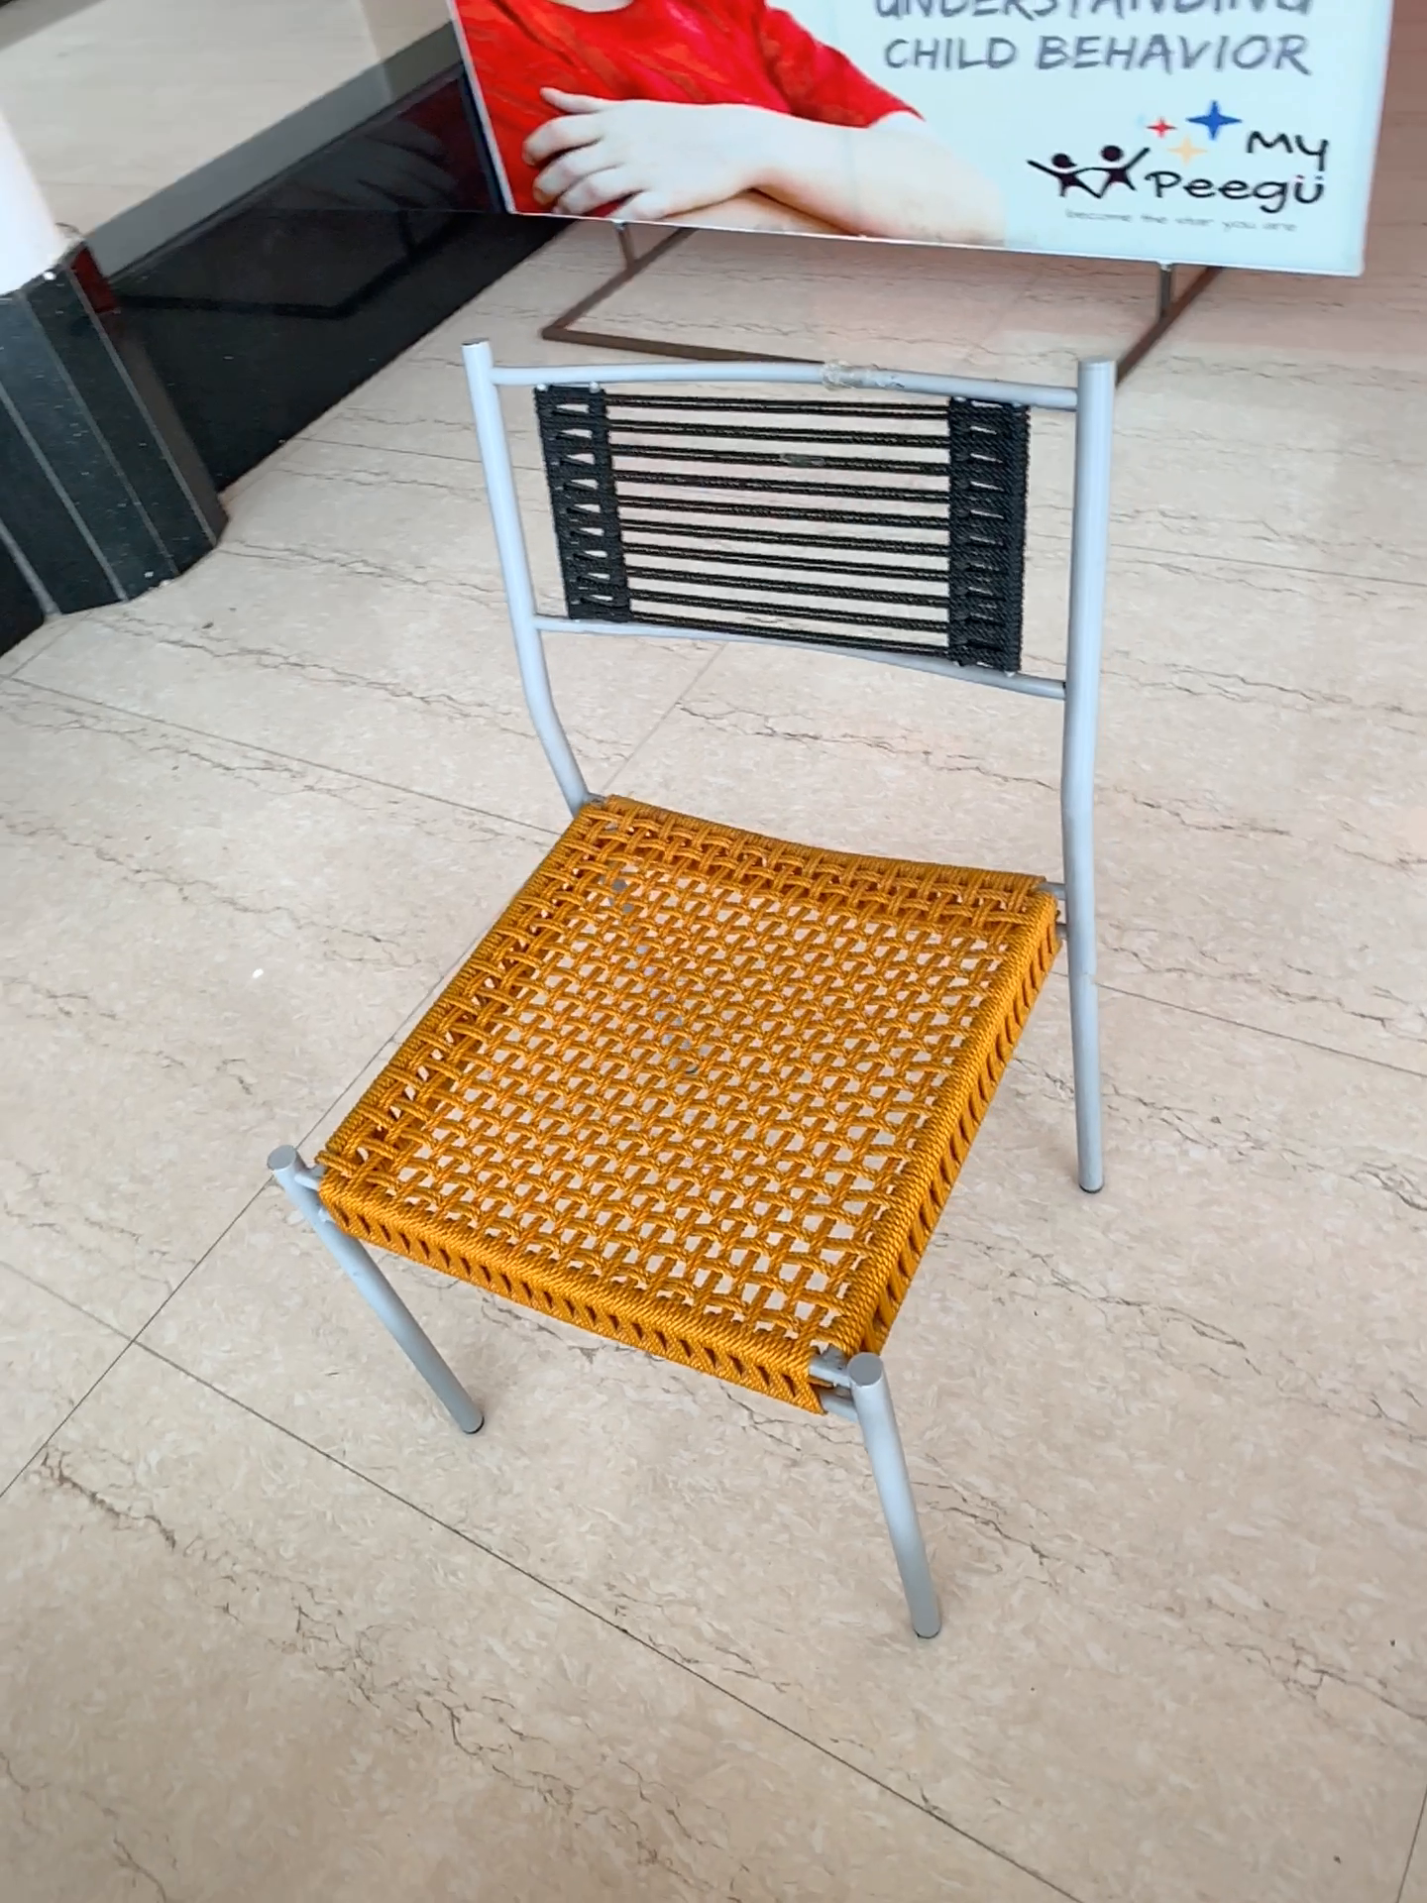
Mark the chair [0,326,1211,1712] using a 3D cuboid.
[{"bbox_3d":[-0.003,0.047,1.038,0.532,0.744,0.523,14,52,27],"label":"chair"}]
